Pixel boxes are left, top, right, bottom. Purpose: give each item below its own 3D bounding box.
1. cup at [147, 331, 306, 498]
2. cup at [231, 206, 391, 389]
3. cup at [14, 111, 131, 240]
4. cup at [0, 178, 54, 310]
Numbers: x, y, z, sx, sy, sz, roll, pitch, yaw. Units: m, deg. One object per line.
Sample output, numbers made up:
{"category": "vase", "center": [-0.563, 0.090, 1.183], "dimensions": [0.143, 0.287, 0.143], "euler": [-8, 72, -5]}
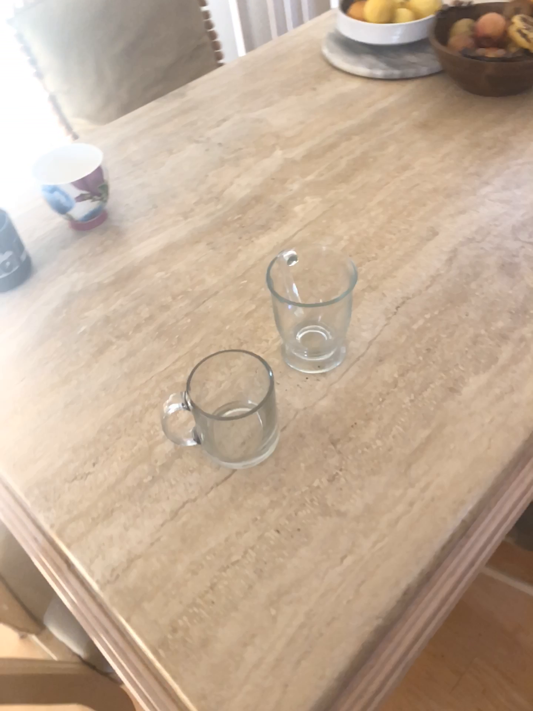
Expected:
{"category": "cup", "center": [-0.038, 0.061, 0.605], "dimensions": [0.130, 0.109, 0.091], "euler": [-17, 49, -8]}
{"category": "cup", "center": [0.048, -0.069, 0.670], "dimensions": [0.110, 0.109, 0.151], "euler": [-25, 51, -15]}
{"category": "cup", "center": [-0.298, -0.280, 0.897], "dimensions": [0.100, 0.099, 0.171], "euler": [-26, 51, -16]}
{"category": "cup", "center": [-0.387, -0.160, 0.833], "dimensions": [0.090, 0.109, 0.131], "euler": [-30, 52, -18]}
